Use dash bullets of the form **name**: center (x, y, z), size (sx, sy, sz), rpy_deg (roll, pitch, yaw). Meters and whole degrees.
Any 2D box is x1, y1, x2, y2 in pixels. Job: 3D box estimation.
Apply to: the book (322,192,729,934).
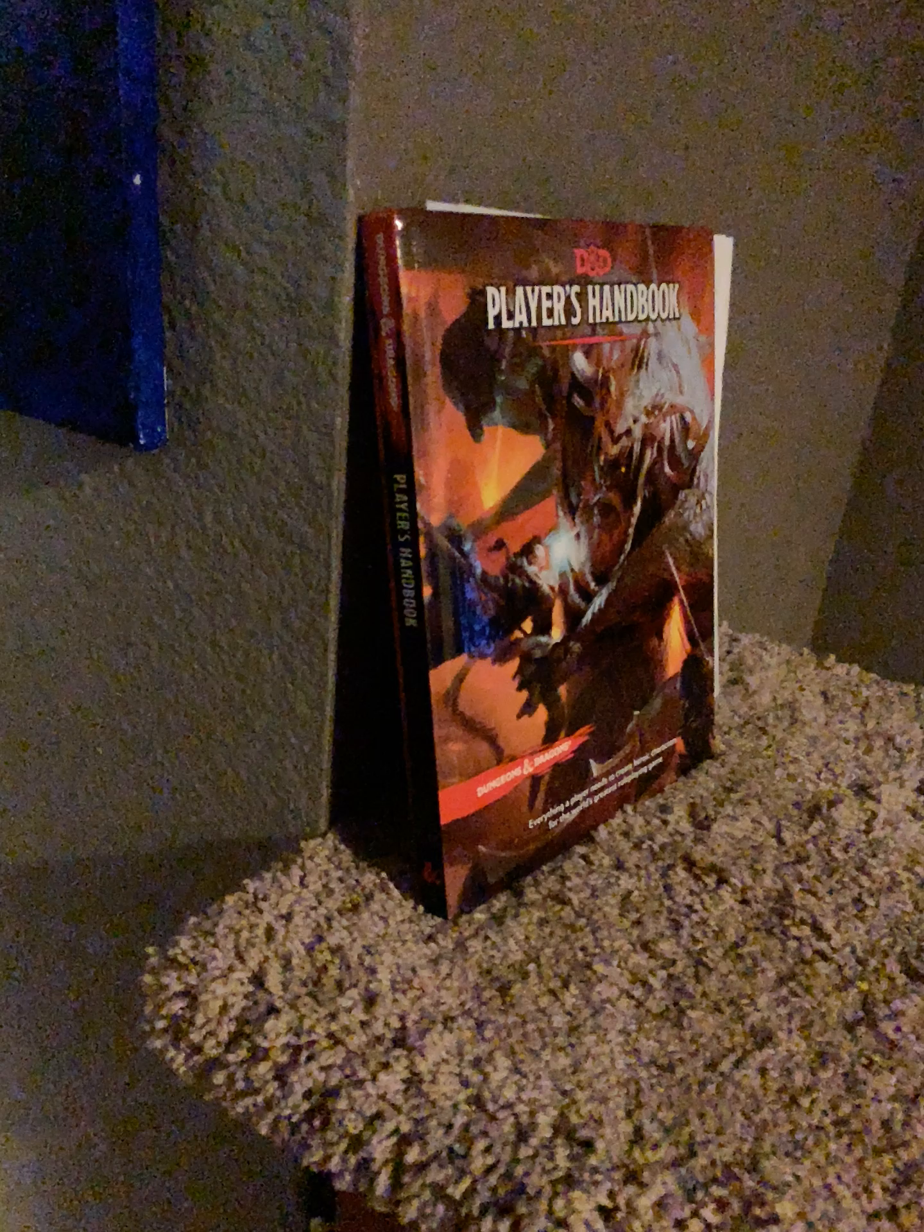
- **book**: center (0.045, -0.035, 0.484), size (0.040, 0.290, 0.230), rpy_deg (13, 22, 40)
